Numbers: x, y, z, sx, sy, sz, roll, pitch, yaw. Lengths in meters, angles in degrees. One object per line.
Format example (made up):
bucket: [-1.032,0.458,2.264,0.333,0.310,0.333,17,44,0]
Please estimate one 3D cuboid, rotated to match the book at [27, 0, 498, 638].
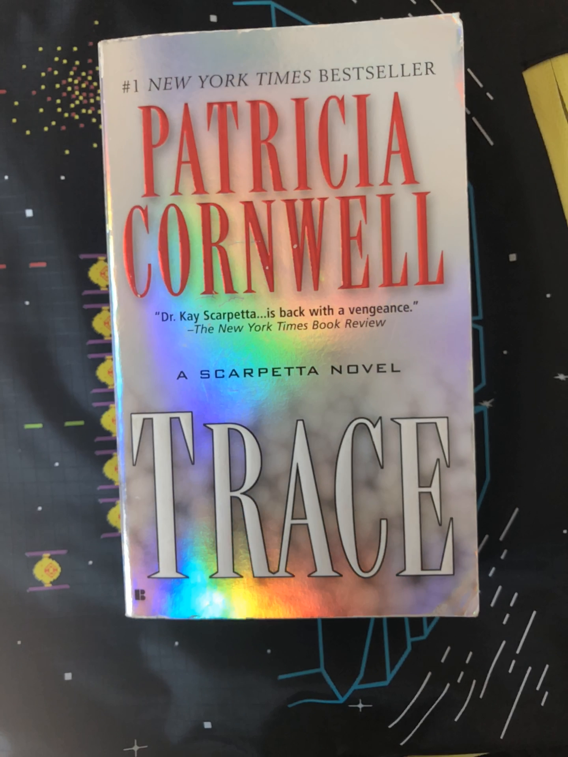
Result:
book: [-0.005,-0.016,0.189,0.120,0.040,0.170,-2,91,7]
